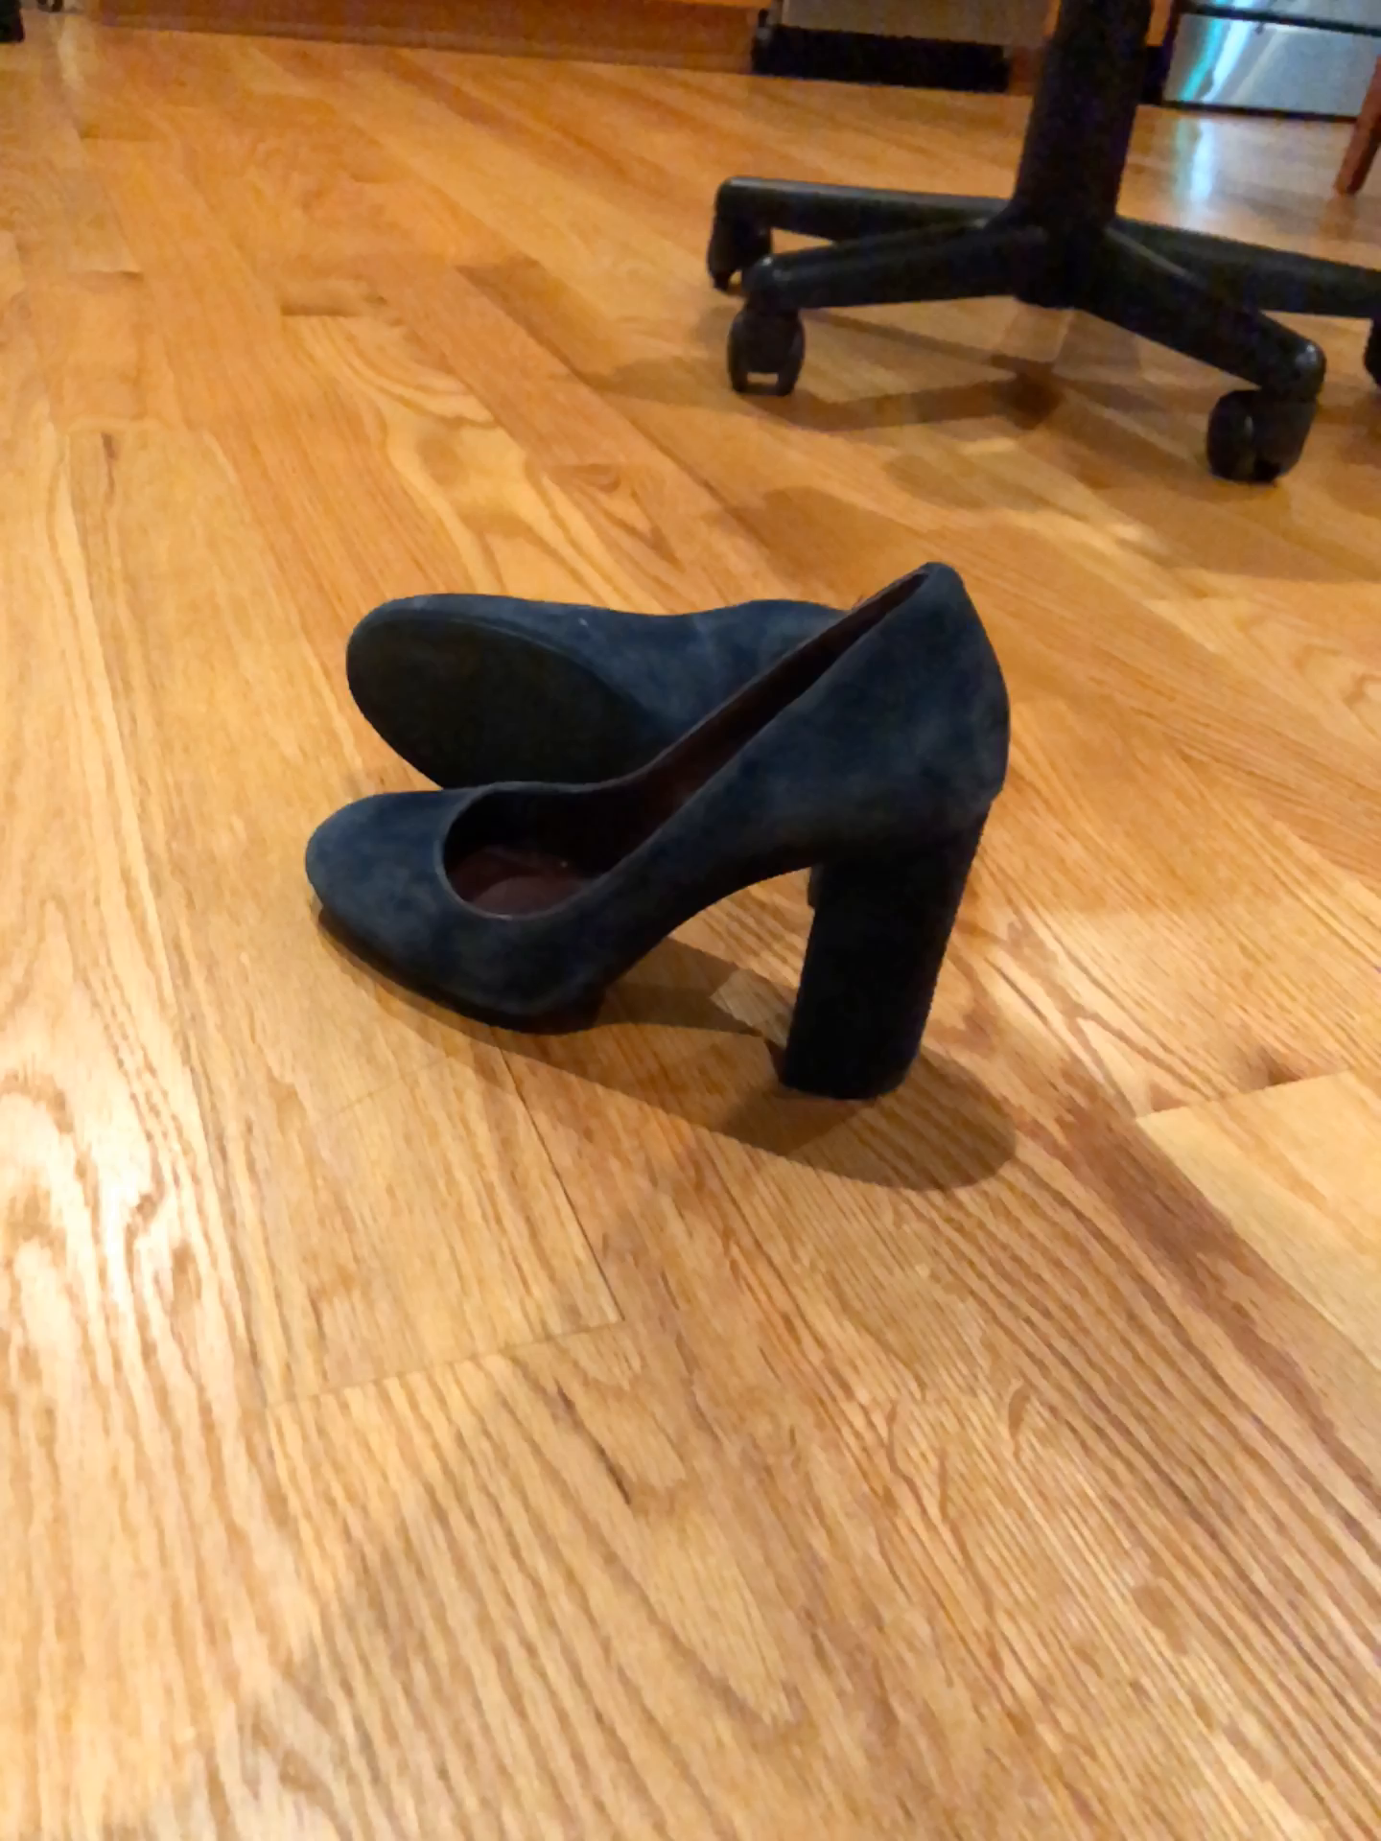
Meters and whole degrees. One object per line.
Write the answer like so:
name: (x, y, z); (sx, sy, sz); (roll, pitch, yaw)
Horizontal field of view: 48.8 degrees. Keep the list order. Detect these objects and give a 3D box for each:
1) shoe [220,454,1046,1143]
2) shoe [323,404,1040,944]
shoe: (-0.015, -0.037, 0.425); (0.195, 0.128, 0.090); (12, 34, 8)
shoe: (0.003, -0.092, 0.525); (0.205, 0.089, 0.140); (13, 41, 8)
